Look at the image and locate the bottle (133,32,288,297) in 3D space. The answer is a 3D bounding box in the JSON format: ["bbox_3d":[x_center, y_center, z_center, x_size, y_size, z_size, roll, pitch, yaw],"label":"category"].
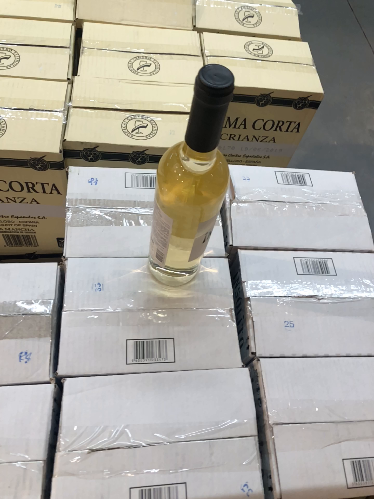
[{"bbox_3d":[-0.002,-0.057,0.431,0.090,0.299,0.090,4,59,-7],"label":"bottle"}]
